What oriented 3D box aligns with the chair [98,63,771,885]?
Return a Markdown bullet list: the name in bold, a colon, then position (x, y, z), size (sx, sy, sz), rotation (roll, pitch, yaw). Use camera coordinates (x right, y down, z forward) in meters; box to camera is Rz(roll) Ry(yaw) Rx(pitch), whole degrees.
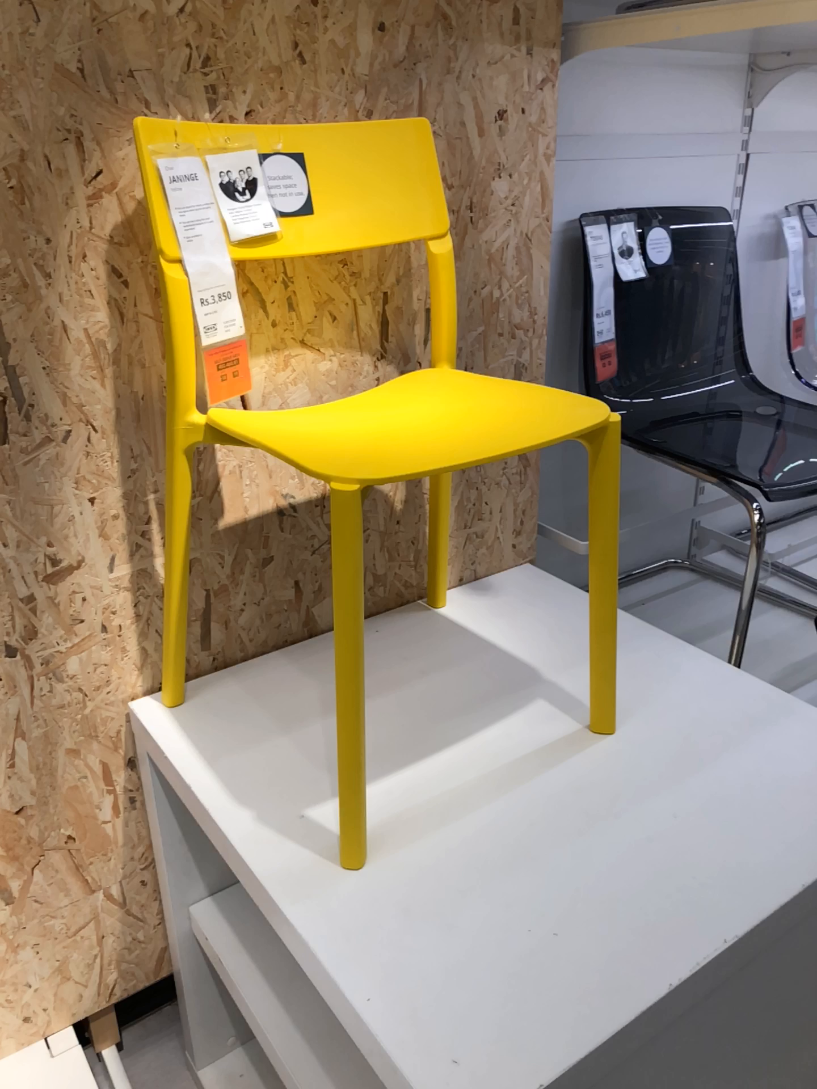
- **chair**: position (0.014, -0.126, 0.996), size (0.461, 0.676, 0.462), rotation (-17, 28, -33)
